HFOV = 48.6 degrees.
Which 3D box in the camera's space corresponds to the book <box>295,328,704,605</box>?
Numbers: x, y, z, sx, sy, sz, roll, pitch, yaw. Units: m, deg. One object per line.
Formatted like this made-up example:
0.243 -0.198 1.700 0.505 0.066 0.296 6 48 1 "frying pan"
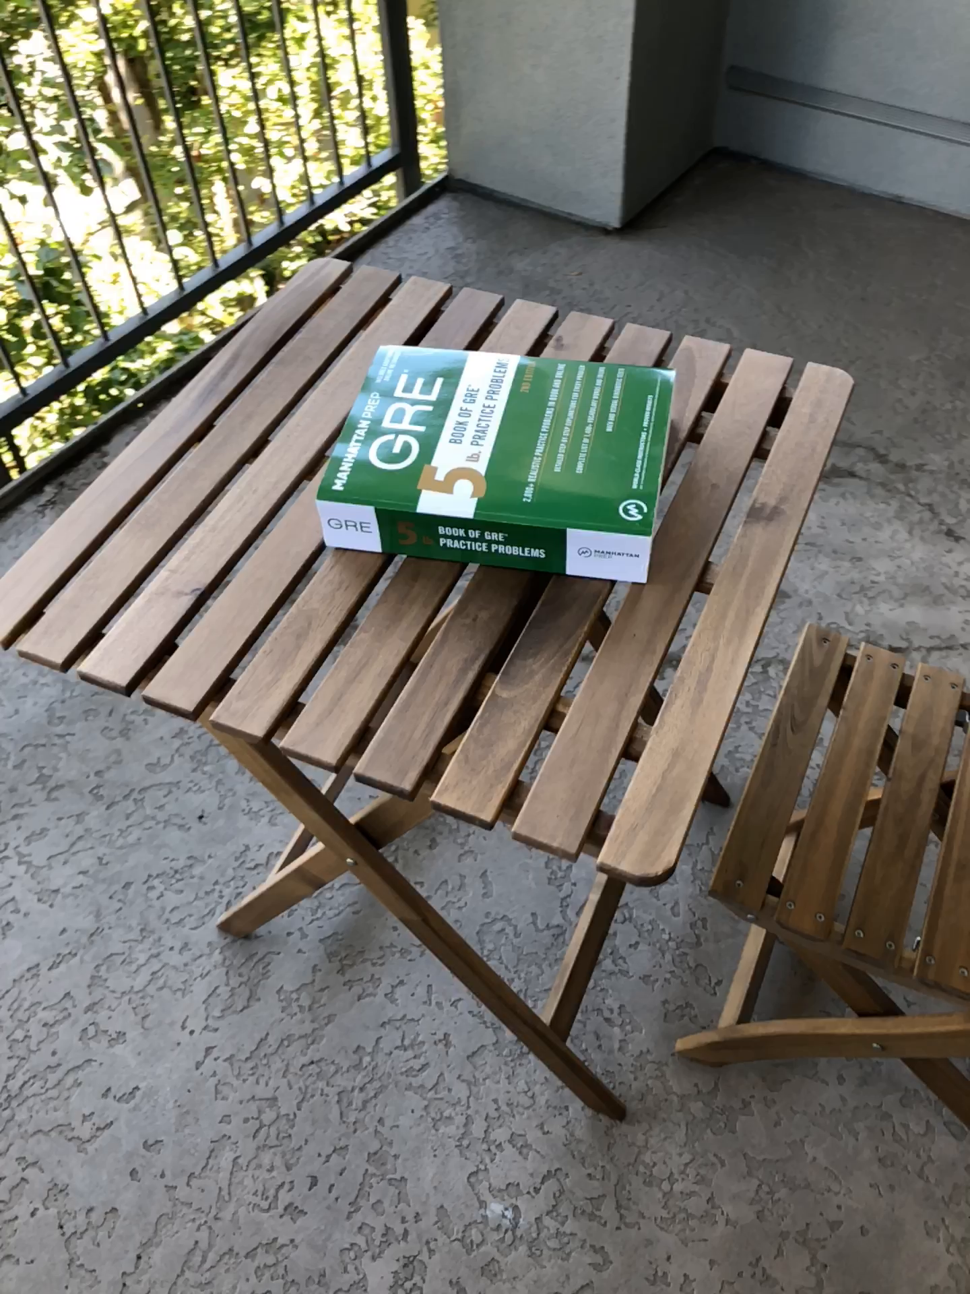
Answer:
0.024 -0.167 0.939 0.310 0.060 0.251 7 51 8 "book"
